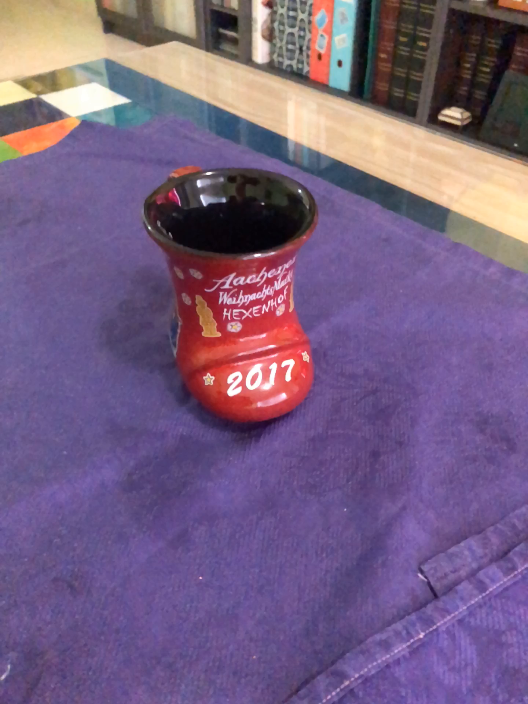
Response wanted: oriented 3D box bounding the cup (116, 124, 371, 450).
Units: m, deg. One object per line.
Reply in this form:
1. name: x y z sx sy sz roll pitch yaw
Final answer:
1. cup: -0.015 -0.037 0.280 0.070 0.090 0.120 -16 44 -16
